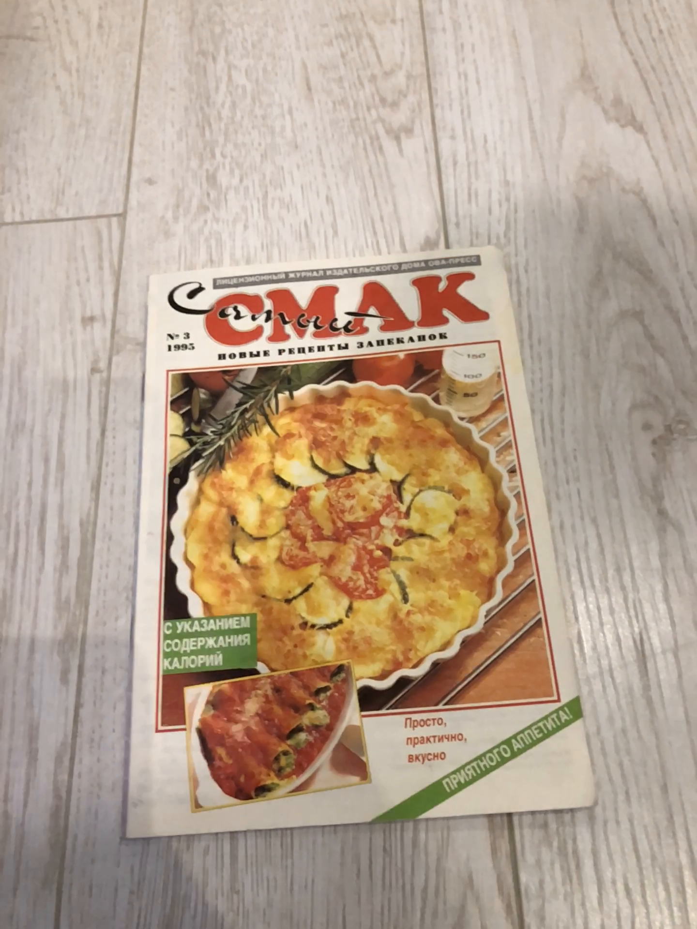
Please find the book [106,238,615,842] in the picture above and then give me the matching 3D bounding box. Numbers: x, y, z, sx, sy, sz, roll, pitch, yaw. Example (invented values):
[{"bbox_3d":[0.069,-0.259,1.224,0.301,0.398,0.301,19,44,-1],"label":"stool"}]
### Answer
[{"bbox_3d":[-0.003,0.016,0.305,0.165,0.020,0.230,-5,66,2],"label":"book"}]
